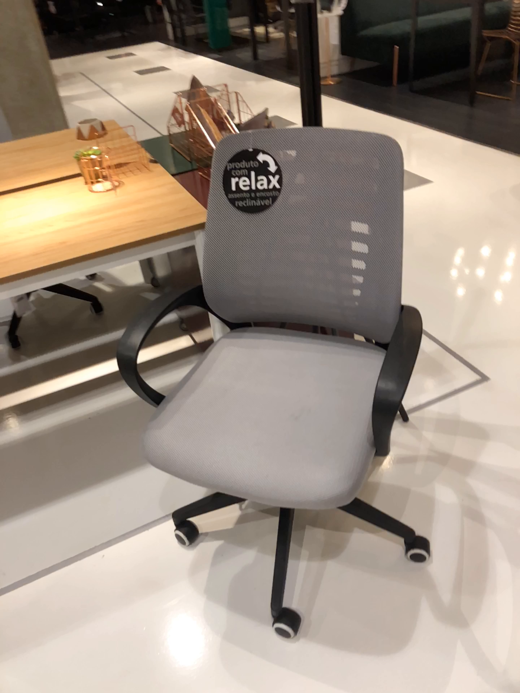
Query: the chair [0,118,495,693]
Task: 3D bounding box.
[{"bbox_3d":[0.044,0.074,1.162,0.661,0.853,0.665,9,39,22],"label":"chair"}]
